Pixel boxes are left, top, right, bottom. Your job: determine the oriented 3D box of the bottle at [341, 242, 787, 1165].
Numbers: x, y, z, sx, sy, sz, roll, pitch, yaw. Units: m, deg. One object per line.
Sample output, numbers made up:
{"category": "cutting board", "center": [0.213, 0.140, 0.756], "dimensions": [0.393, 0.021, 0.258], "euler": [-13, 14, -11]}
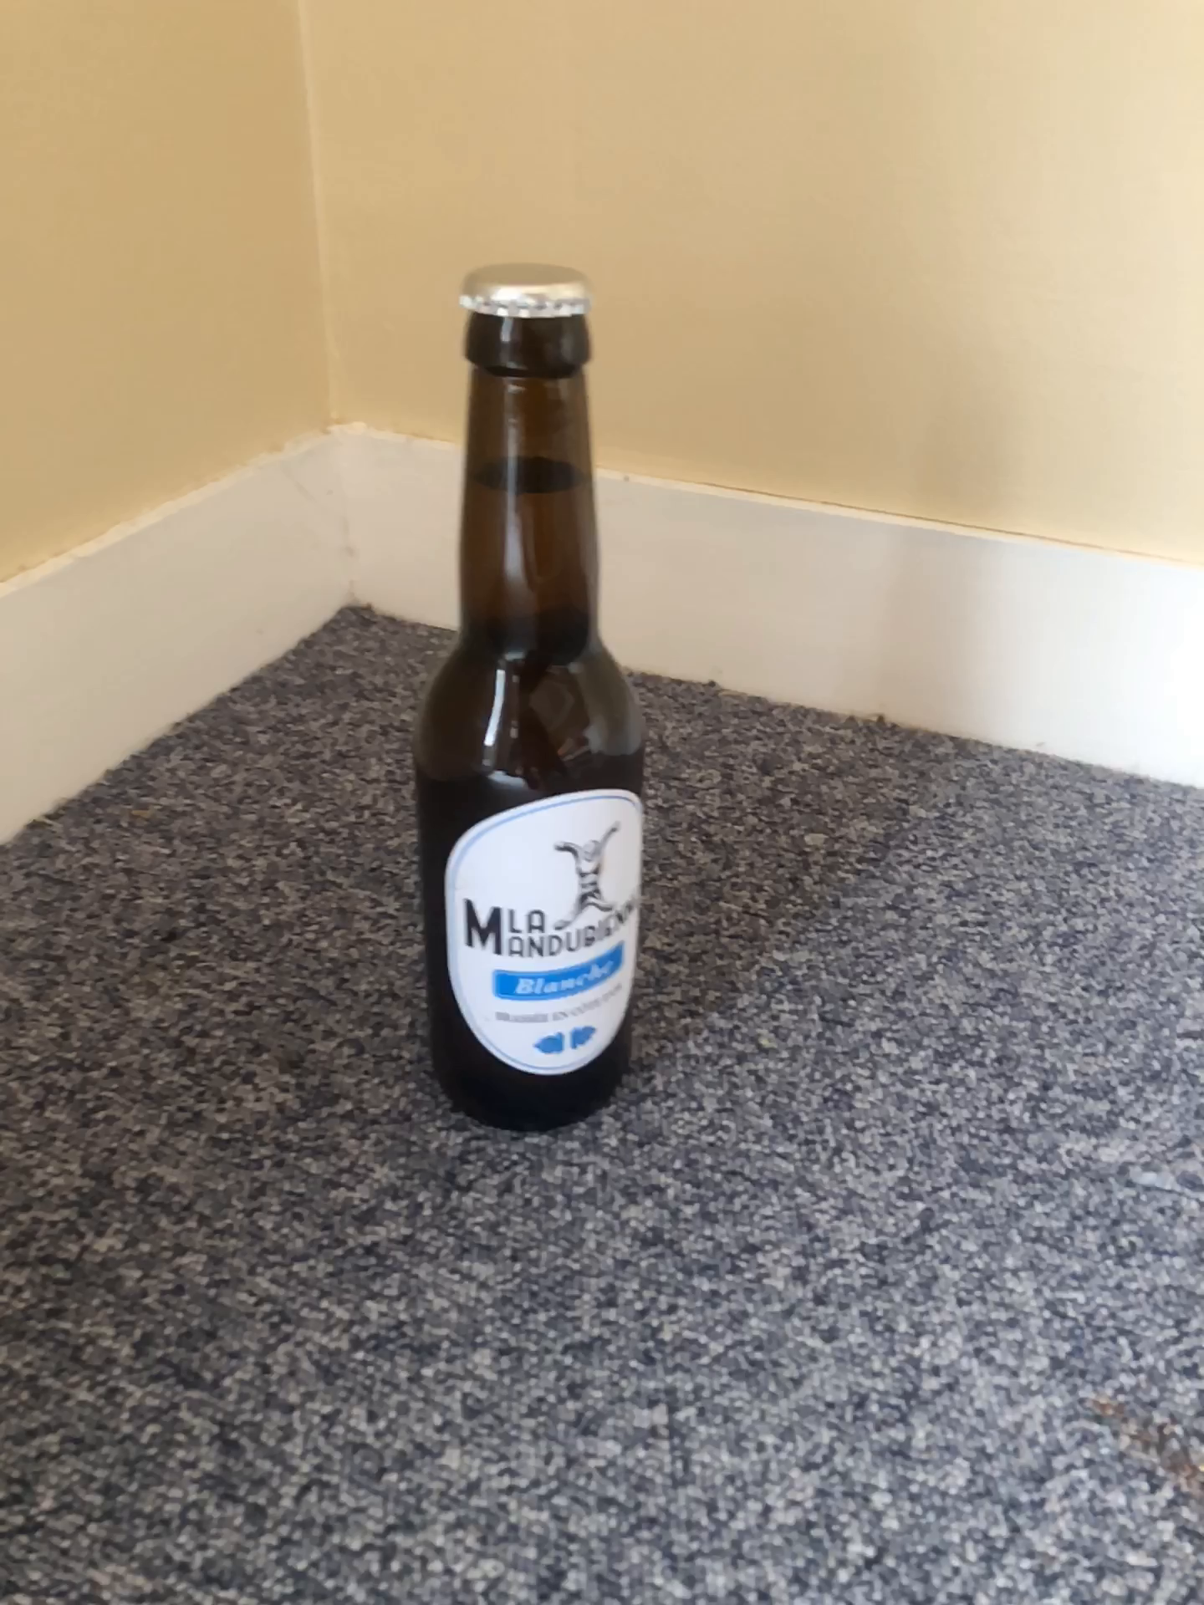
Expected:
{"category": "bottle", "center": [-0.013, -0.019, 0.328], "dimensions": [0.070, 0.209, 0.070], "euler": [1, 32, -1]}
